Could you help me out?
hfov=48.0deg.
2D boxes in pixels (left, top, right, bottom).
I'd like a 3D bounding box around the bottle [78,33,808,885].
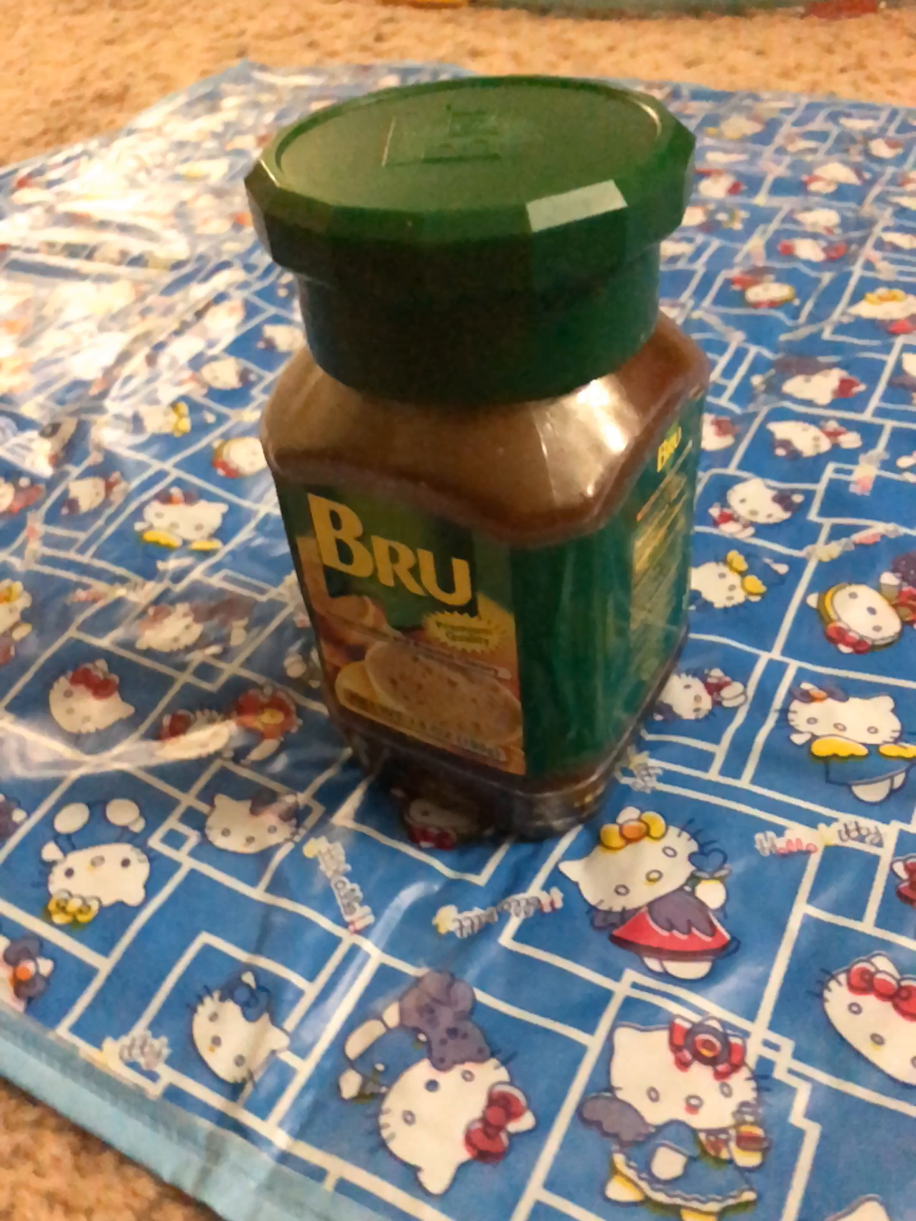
[{"bbox_3d":[0.004,-0.027,0.187,0.080,0.120,0.070,19,48,26],"label":"bottle"}]
